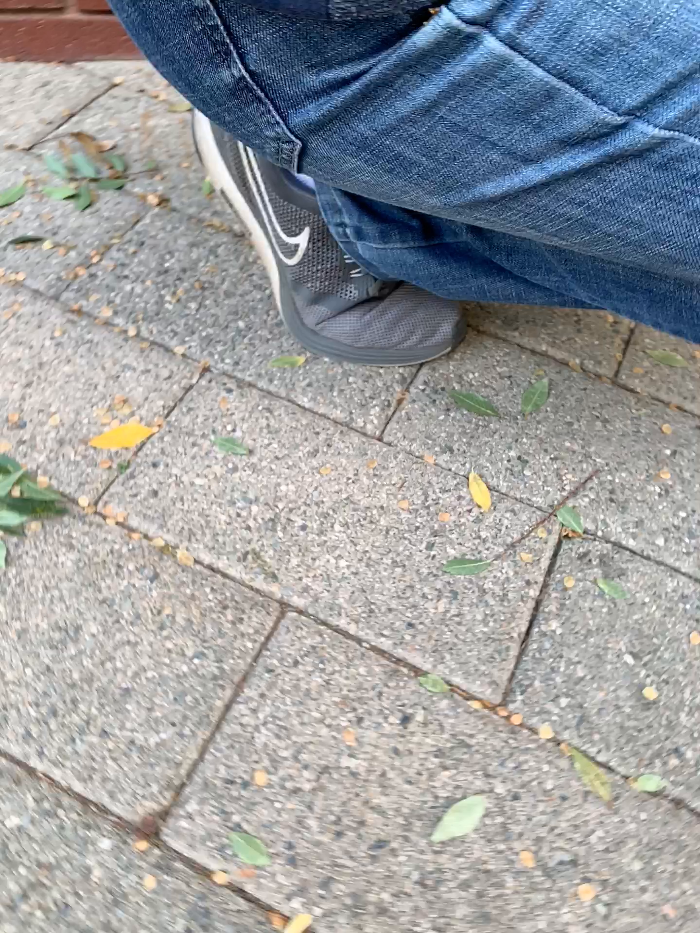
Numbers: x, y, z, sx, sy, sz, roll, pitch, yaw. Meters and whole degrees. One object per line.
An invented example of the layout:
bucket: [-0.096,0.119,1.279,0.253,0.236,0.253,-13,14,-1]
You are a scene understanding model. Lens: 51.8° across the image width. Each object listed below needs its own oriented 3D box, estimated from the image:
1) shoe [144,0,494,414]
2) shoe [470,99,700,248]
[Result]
shoe: [-0.012,-0.186,0.560,0.098,0.273,0.116,-1,42,49]
shoe: [0.282,-0.305,0.744,0.279,0.083,0.111,-7,55,-10]
